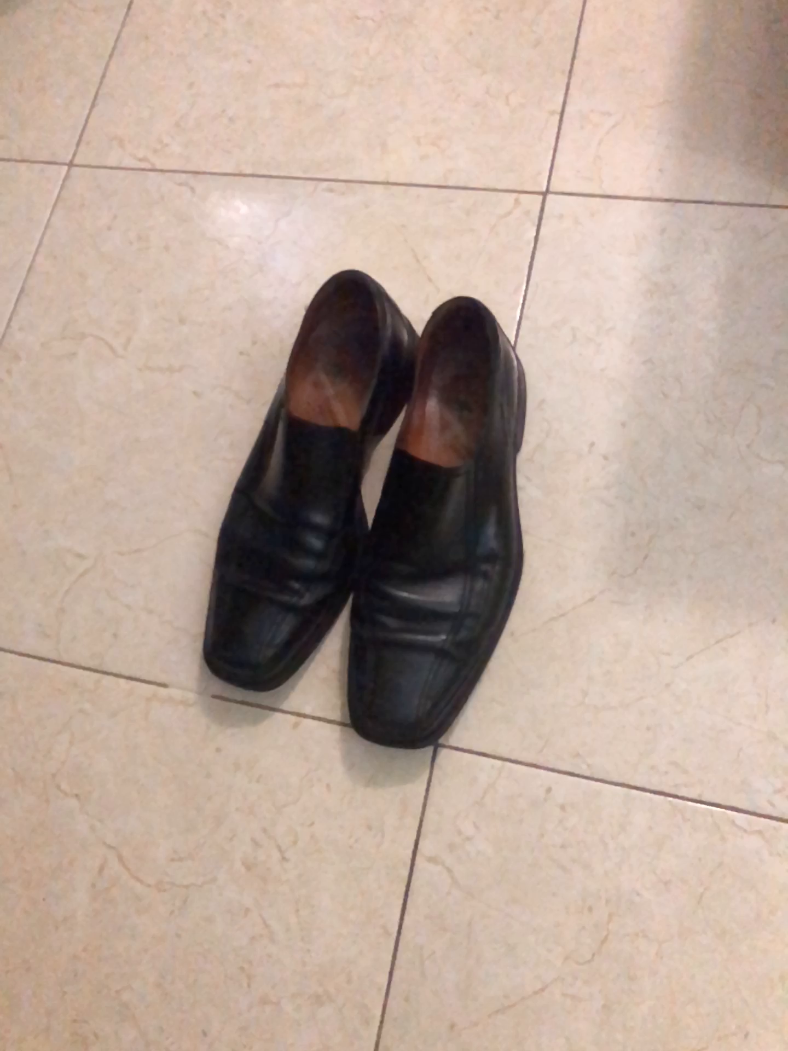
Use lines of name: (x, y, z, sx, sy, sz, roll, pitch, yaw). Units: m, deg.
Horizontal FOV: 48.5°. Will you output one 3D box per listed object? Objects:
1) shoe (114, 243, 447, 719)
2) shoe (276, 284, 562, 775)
shoe: (-0.069, -0.036, 0.625, 0.120, 0.090, 0.310, 14, 75, 15)
shoe: (0.029, -0.002, 0.600, 0.120, 0.090, 0.310, 9, 73, 14)
